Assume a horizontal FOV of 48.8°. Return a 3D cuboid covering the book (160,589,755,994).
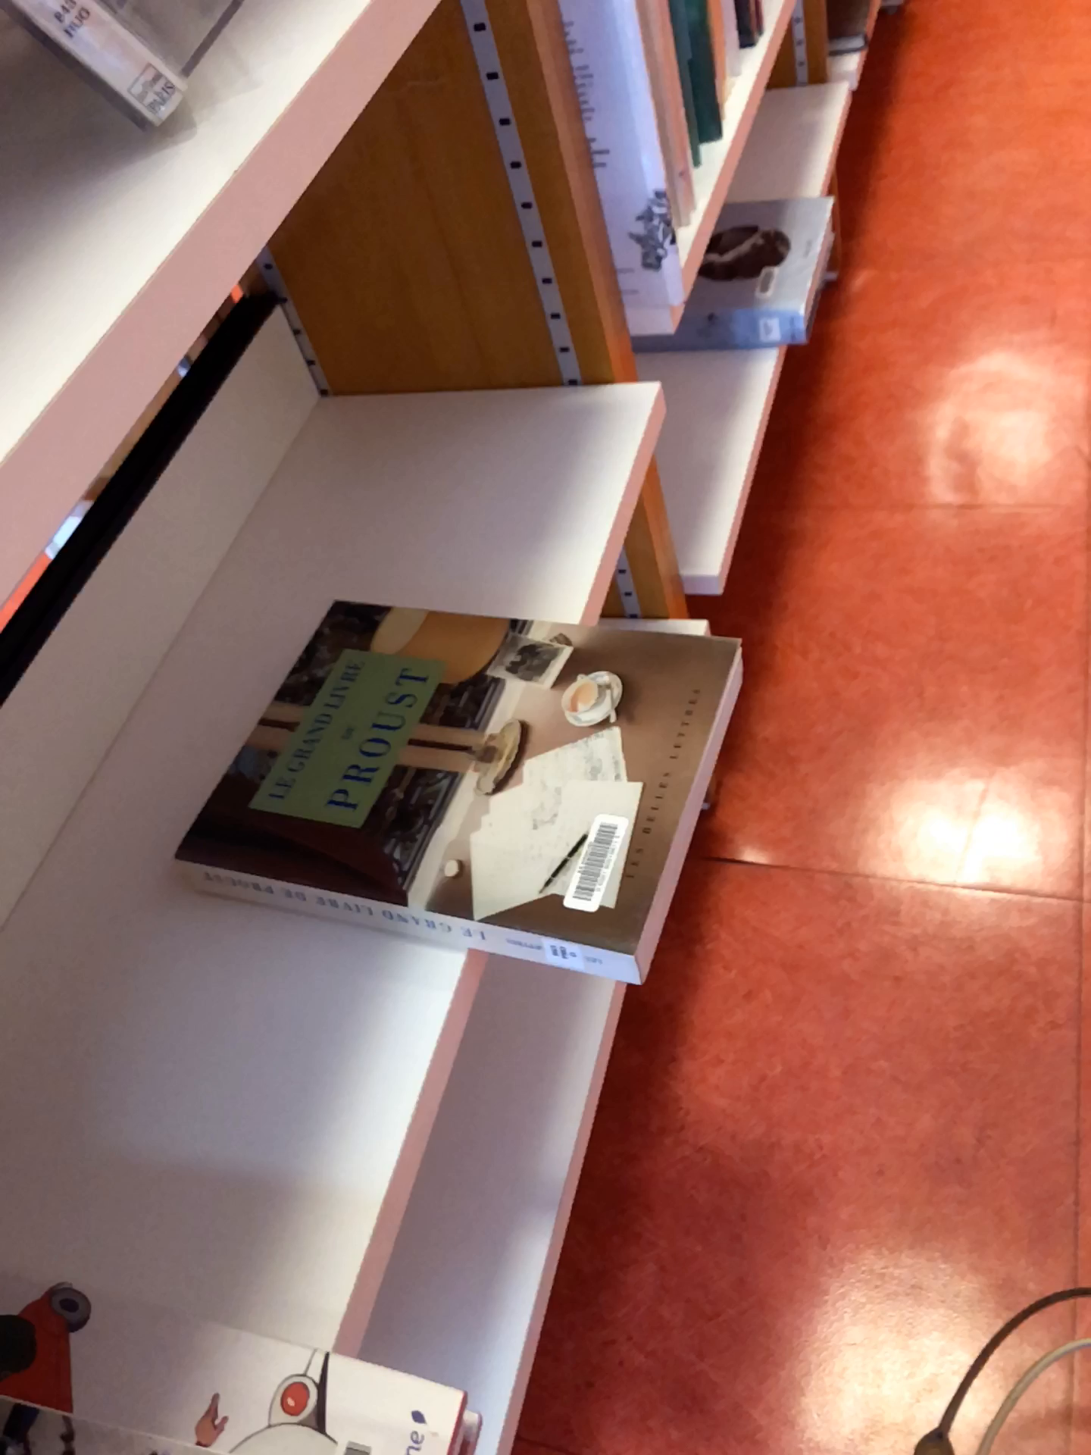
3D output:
[{"bbox_3d":[-0.040,0.017,0.594,0.245,0.030,0.181,9,54,22],"label":"book"}]
